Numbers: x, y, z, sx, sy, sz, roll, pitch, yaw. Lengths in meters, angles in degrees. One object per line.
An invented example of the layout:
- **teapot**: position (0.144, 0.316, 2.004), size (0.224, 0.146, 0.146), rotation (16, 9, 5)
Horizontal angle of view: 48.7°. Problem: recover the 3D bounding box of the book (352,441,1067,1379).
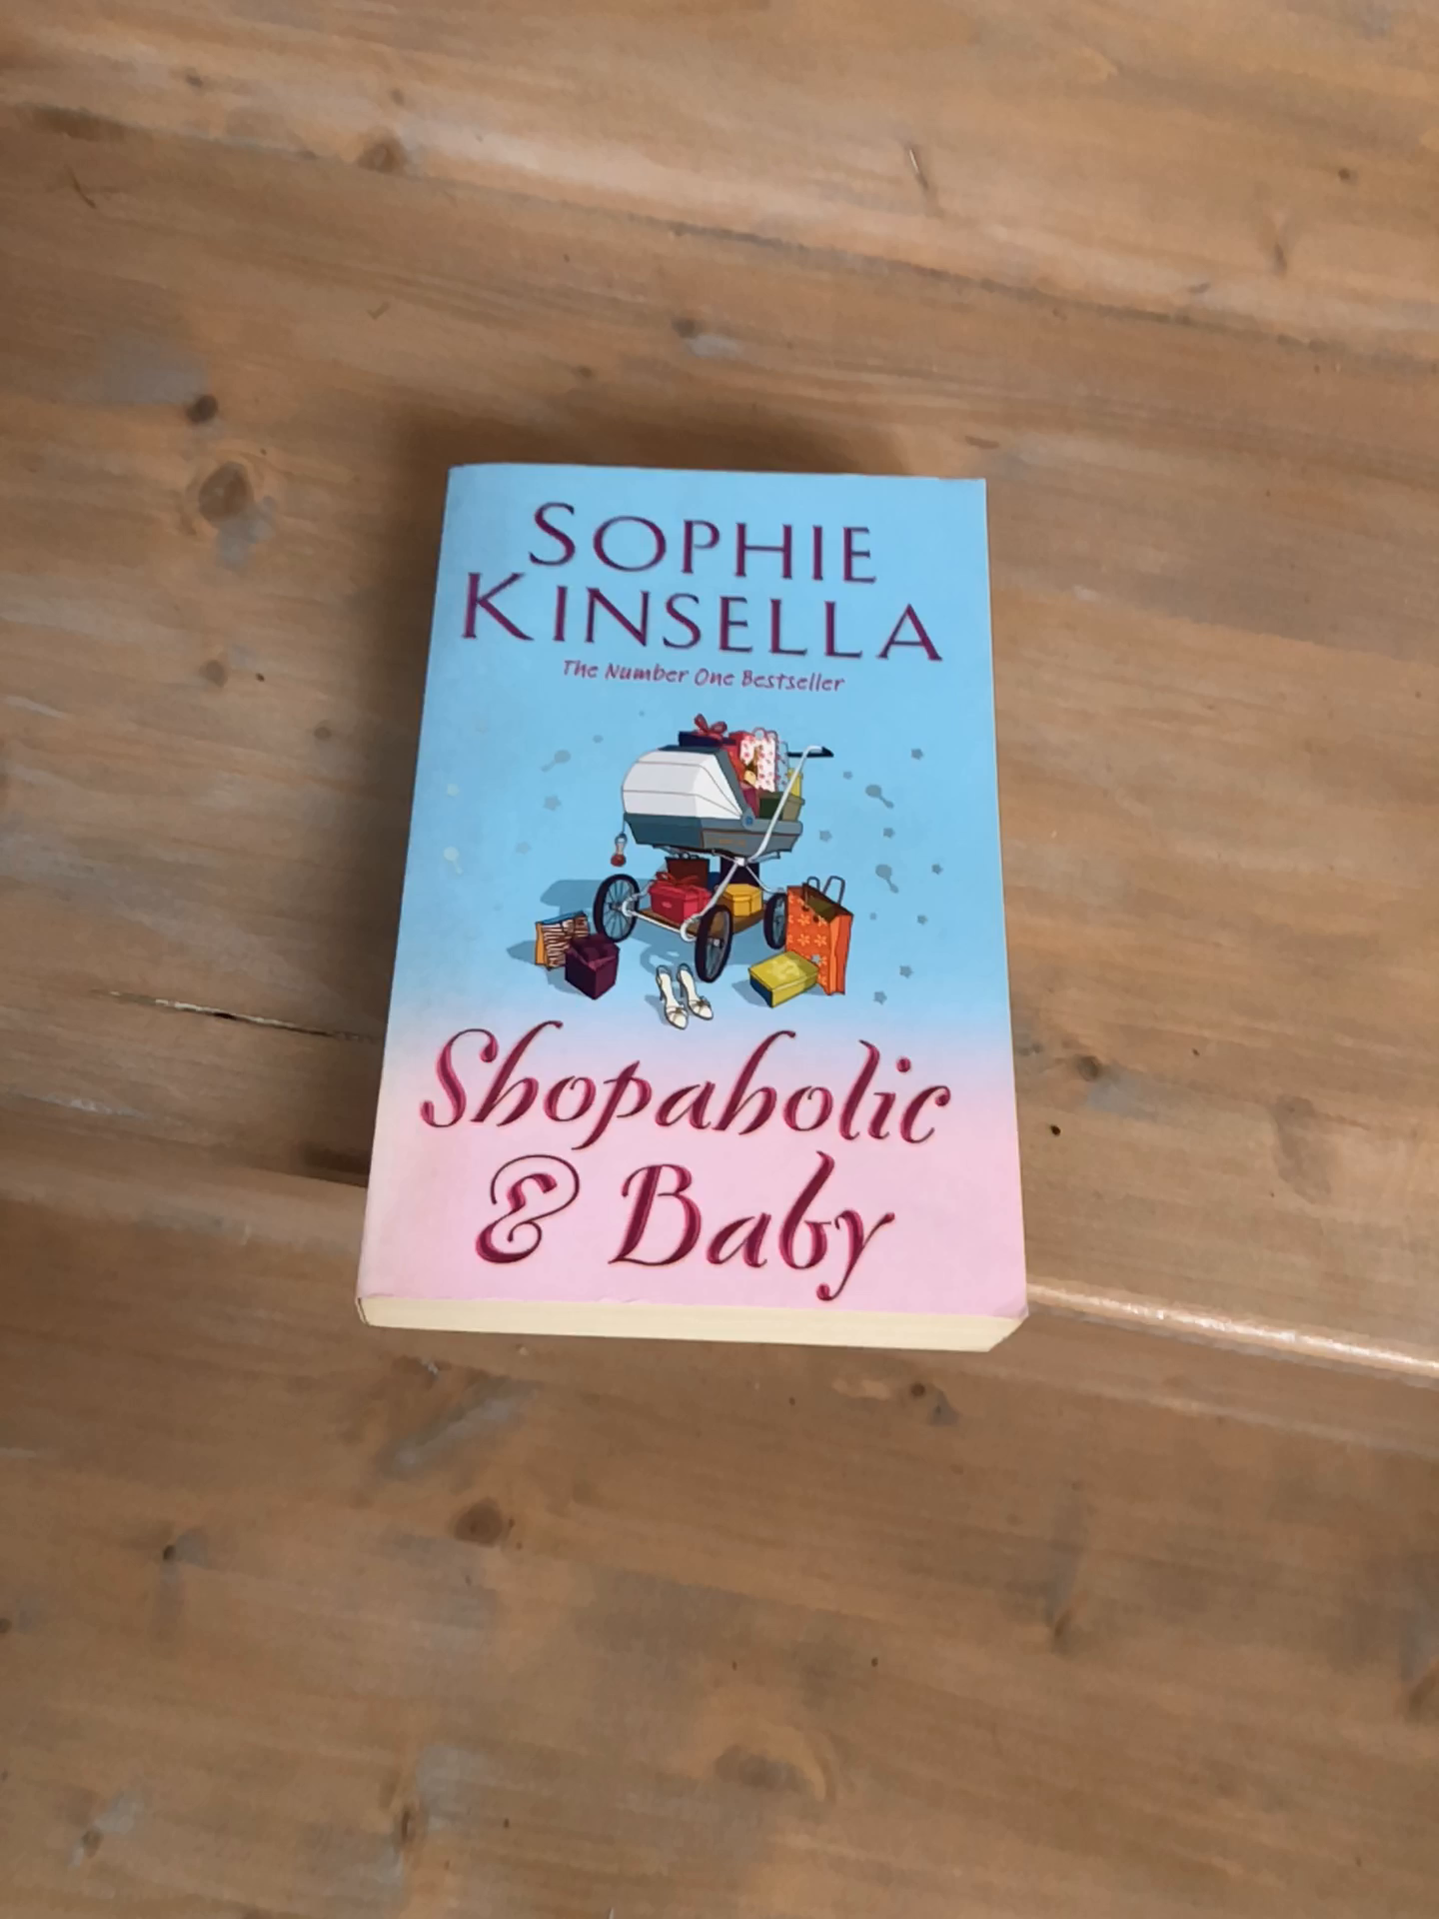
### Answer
- **book**: position (0.000, -0.019, 0.350), size (0.131, 0.031, 0.211), rotation (2, 64, -2)
